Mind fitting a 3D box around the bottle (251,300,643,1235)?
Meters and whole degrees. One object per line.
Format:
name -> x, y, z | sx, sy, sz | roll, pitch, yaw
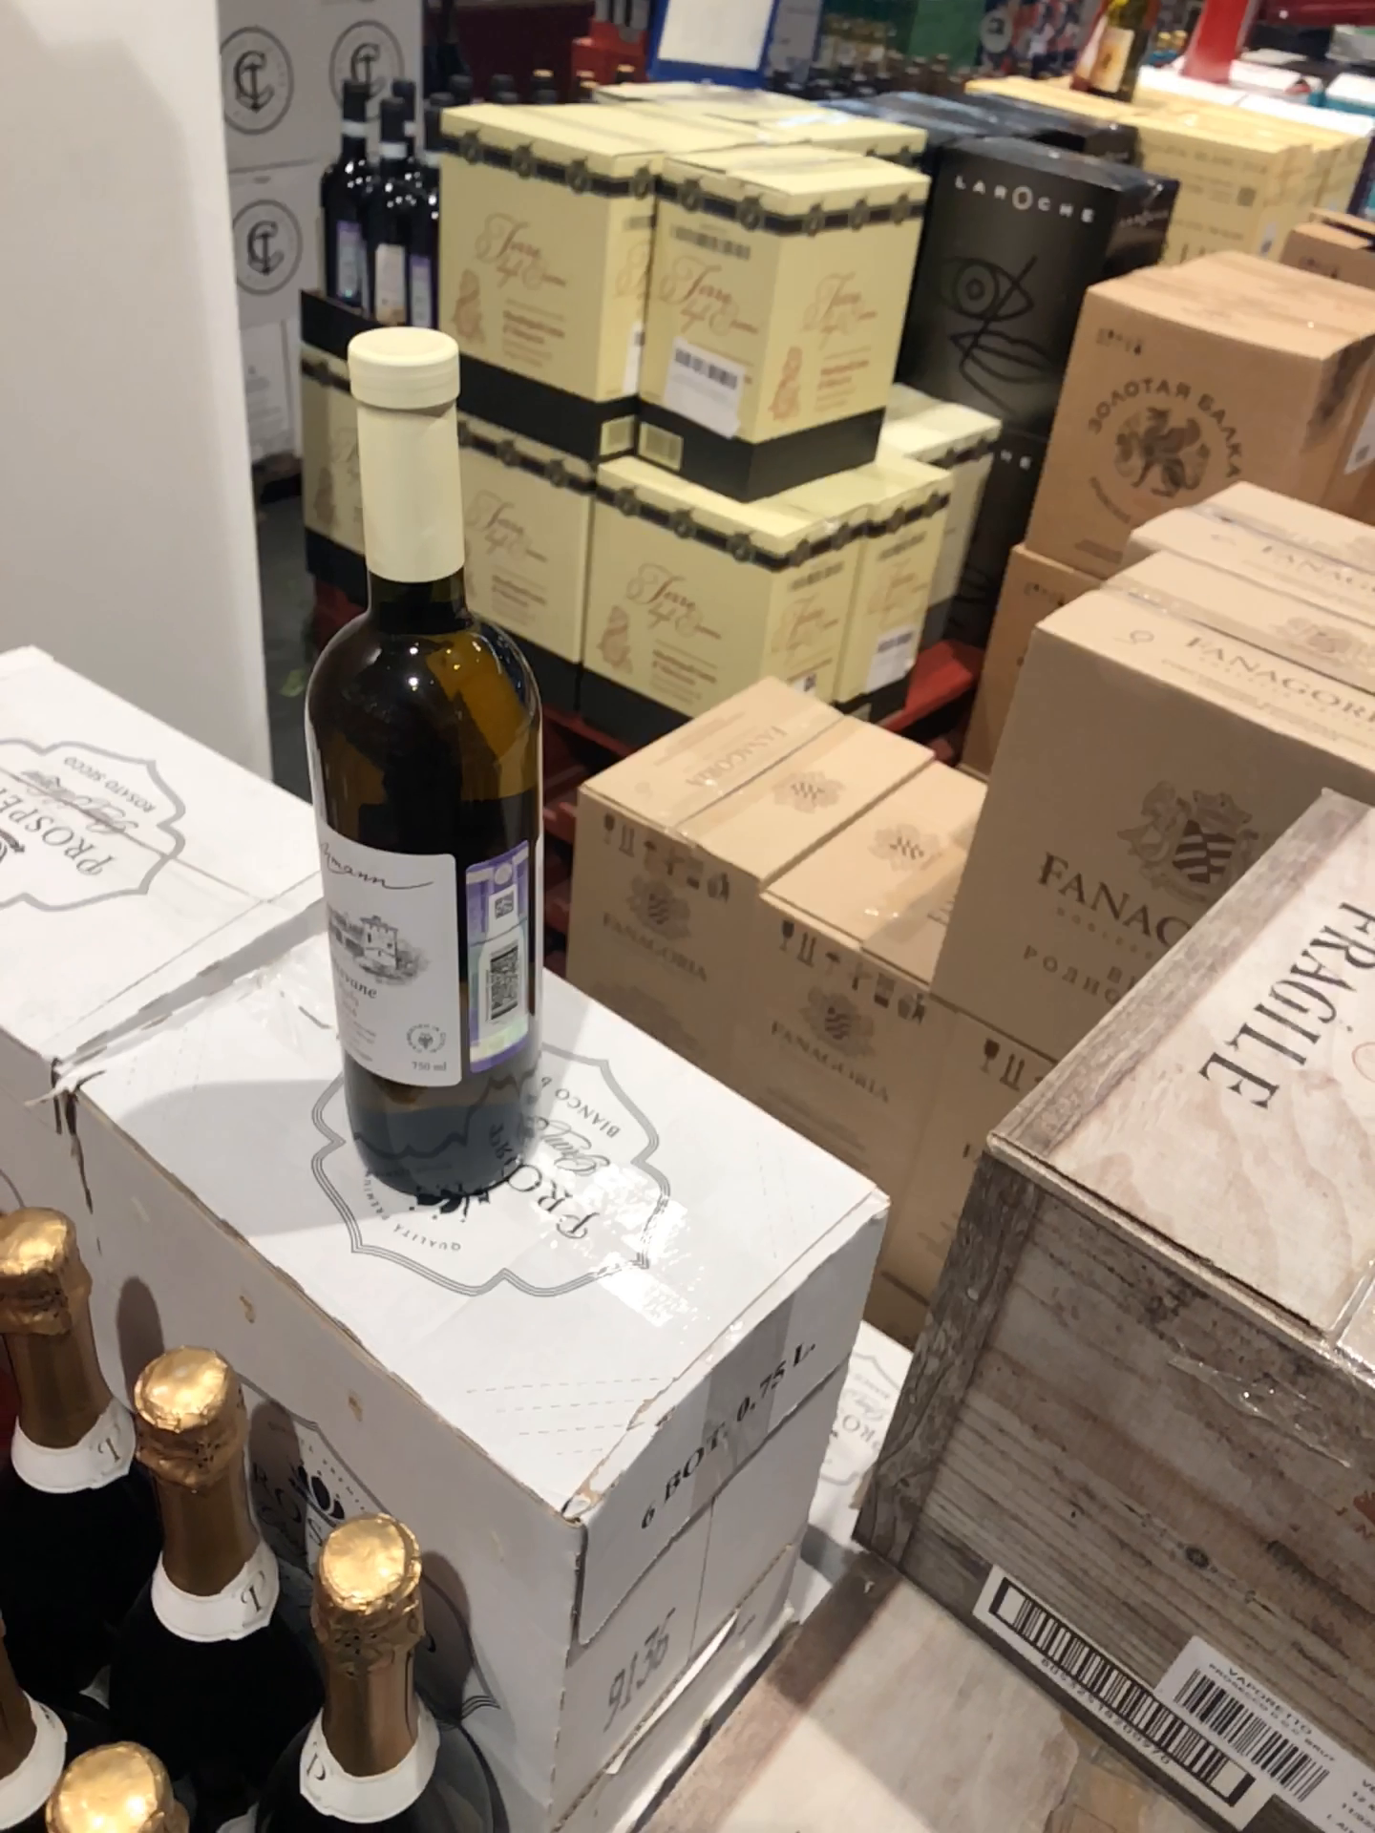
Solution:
bottle -> -0.080, -0.035, 0.490 | 0.073, 0.288, 0.080 | -21, 45, -33
